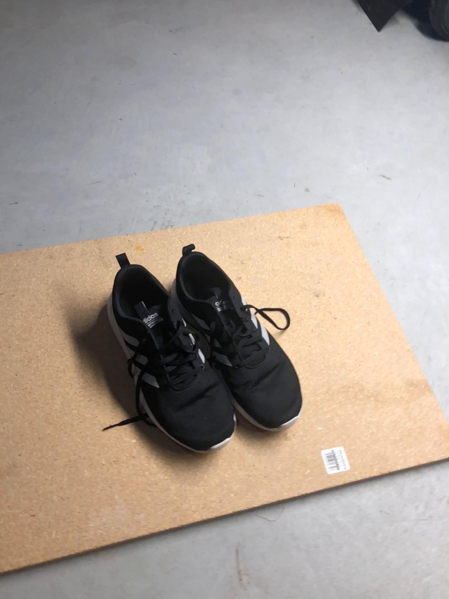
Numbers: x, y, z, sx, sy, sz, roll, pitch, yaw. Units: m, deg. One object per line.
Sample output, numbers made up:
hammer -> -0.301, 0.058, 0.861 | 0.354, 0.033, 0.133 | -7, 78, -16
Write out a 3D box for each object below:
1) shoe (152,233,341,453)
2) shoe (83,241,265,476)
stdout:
shoe -> 0.018, 0.051, 0.717 | 0.110, 0.090, 0.300 | -23, 61, -26
shoe -> -0.082, 0.069, 0.682 | 0.110, 0.090, 0.300 | -22, 61, -25
